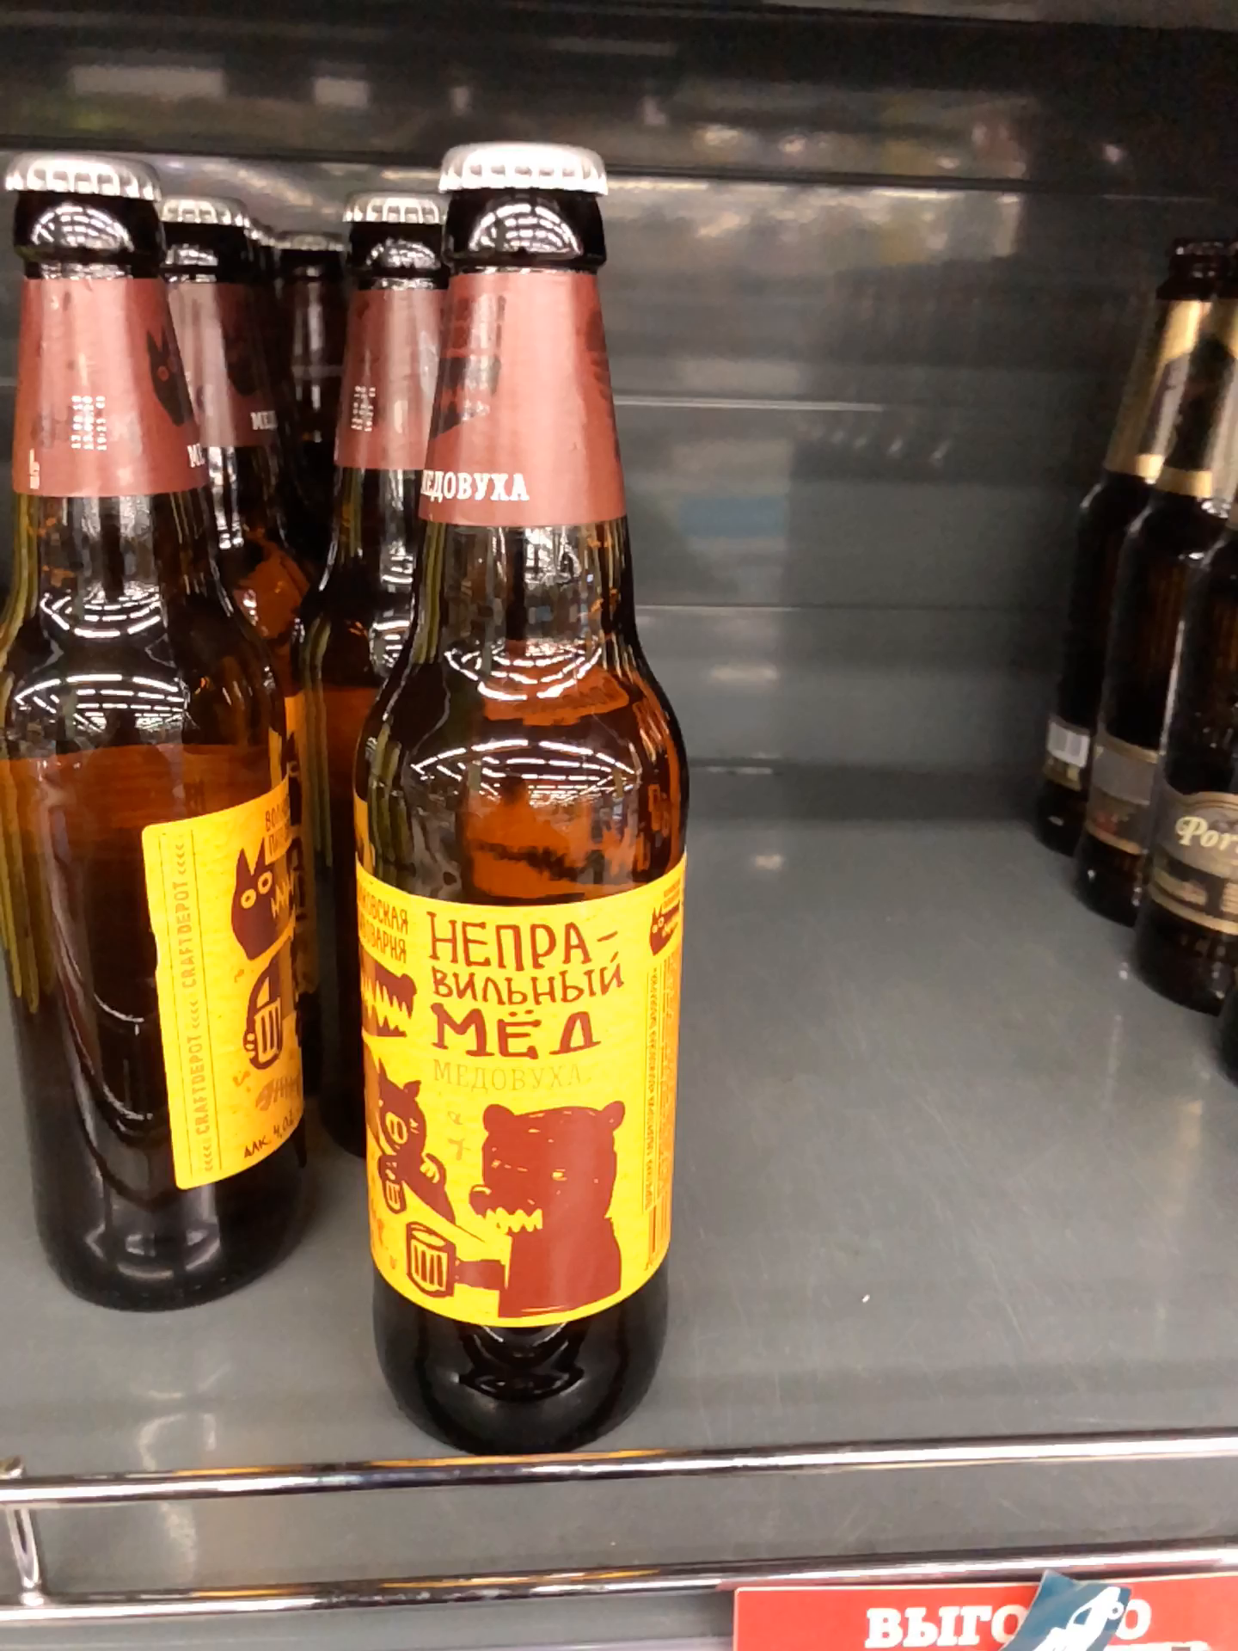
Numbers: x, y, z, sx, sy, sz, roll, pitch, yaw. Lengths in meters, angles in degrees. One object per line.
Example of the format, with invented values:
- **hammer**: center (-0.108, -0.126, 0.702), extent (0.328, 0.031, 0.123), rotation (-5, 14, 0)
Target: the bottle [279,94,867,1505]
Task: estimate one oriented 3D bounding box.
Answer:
- **bottle**: center (-0.013, 0.004, 0.260), extent (0.080, 0.243, 0.070), rotation (0, 20, -7)
